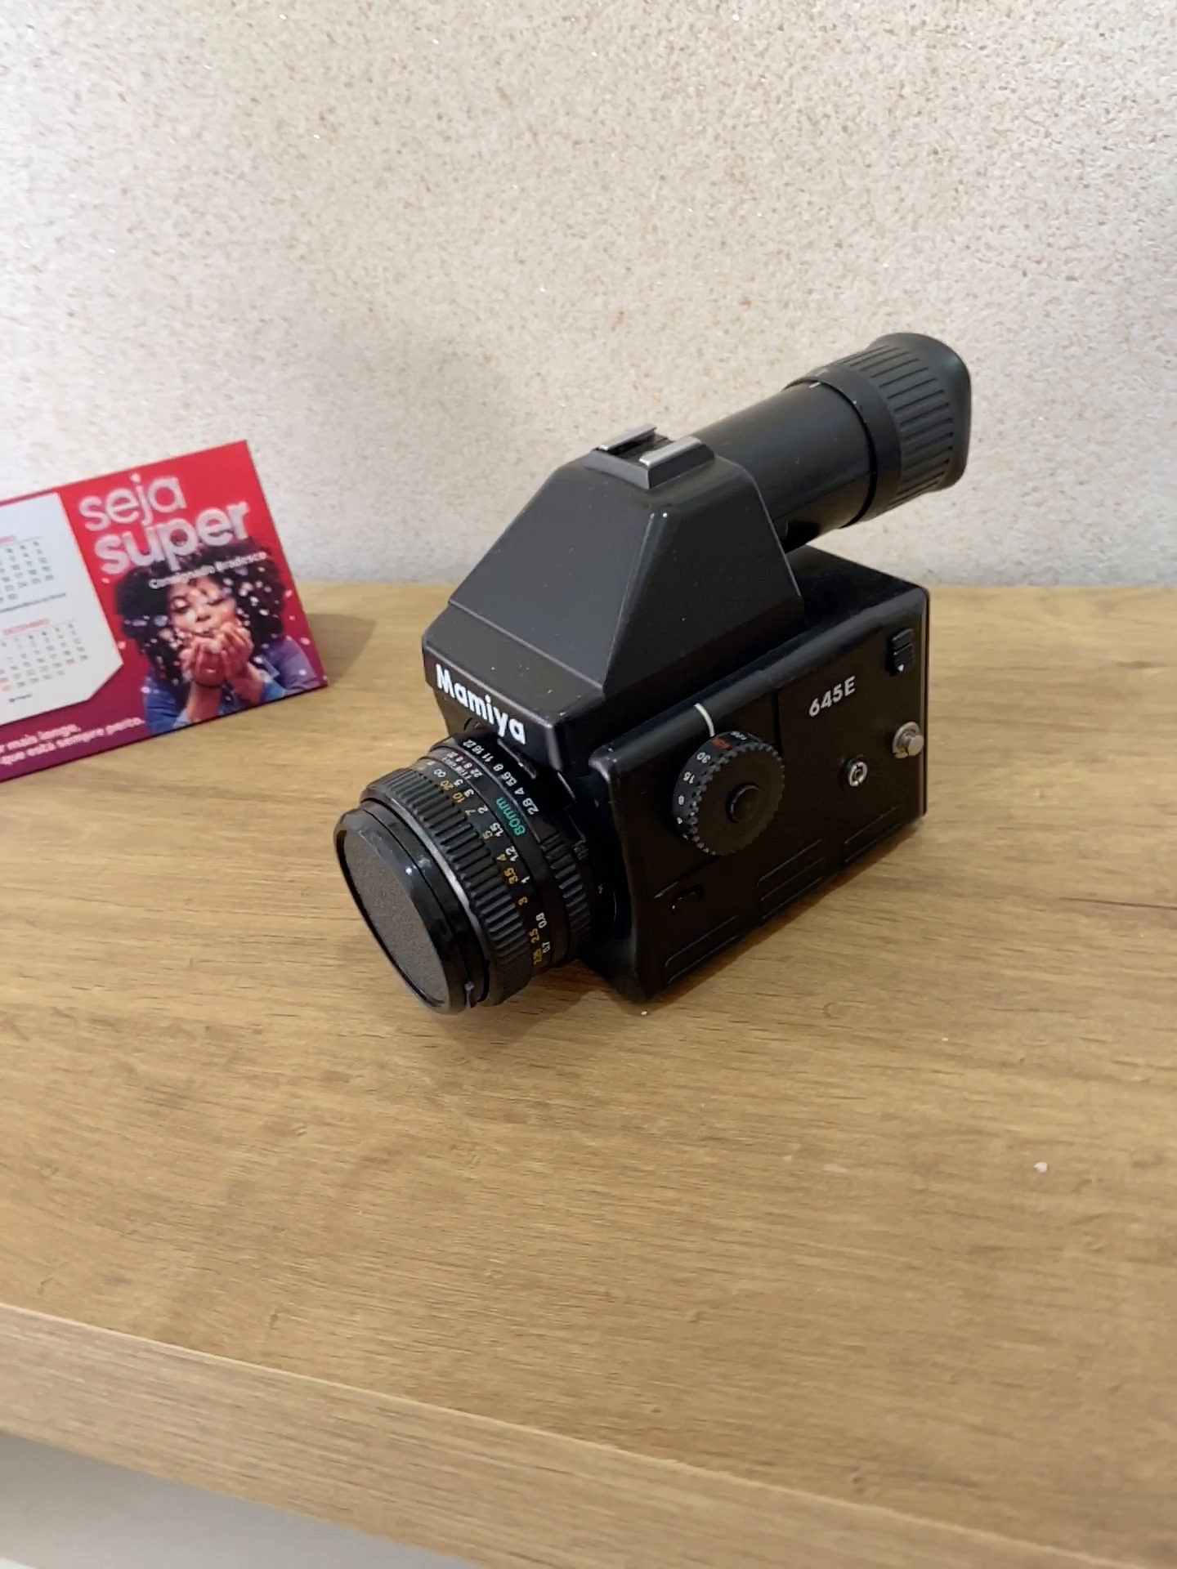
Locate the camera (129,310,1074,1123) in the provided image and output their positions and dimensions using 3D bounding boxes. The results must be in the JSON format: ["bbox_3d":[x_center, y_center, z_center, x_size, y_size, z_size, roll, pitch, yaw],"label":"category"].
[{"bbox_3d":[0.015,-0.039,0.343,0.221,0.109,0.121,-32,39,-26],"label":"camera"}]
